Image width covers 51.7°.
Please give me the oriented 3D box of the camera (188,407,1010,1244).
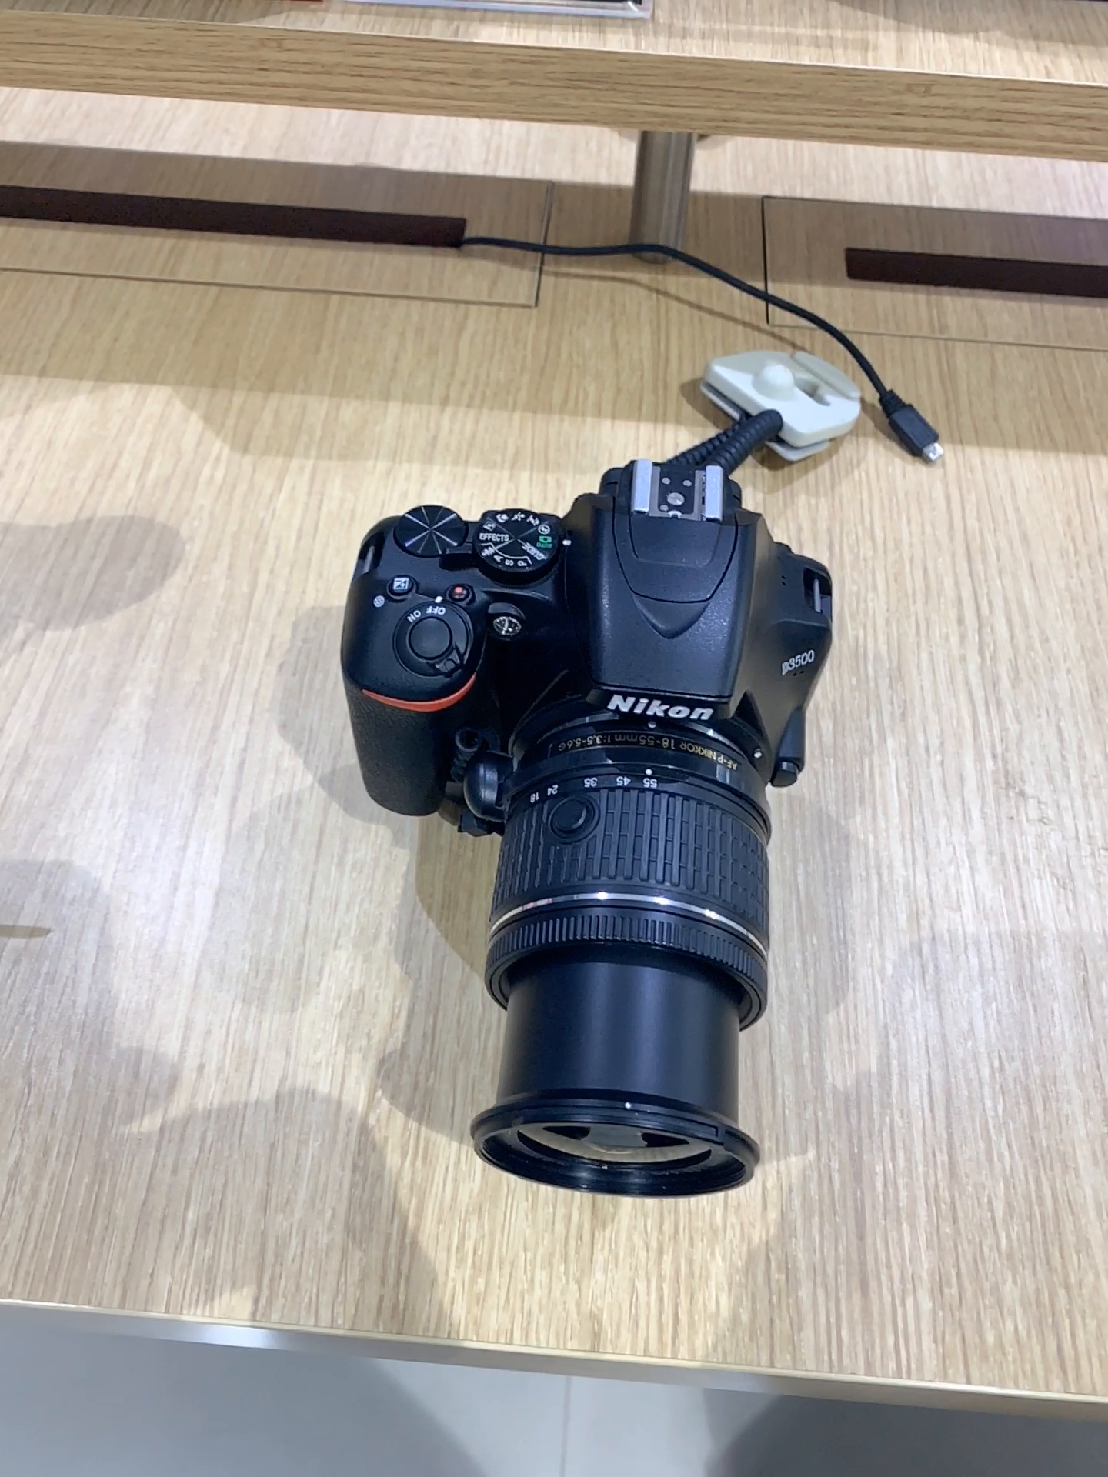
[{"bbox_3d":[0.009,0.020,0.239,0.115,0.100,0.136,4,57,1],"label":"camera"}]
